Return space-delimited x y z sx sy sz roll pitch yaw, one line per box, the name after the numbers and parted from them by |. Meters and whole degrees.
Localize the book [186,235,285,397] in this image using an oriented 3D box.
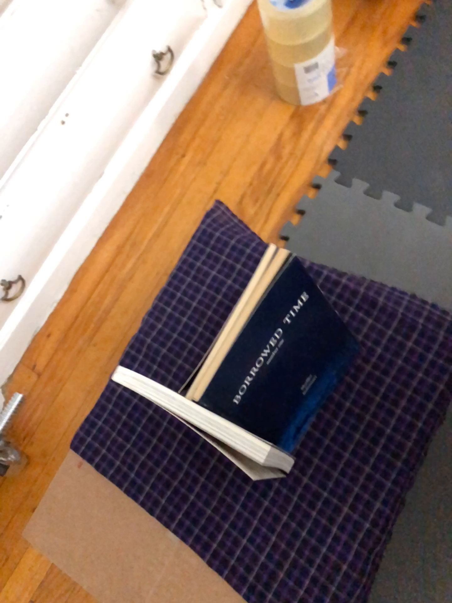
0.007 0.023 0.488 0.010 0.200 0.140 29 83 3 | book

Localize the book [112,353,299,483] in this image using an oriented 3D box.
-0.007 0.115 0.458 0.140 0.190 0.020 25 74 21 | book

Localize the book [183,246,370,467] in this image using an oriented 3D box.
0.062 0.064 0.462 0.010 0.200 0.150 26 79 42 | book
